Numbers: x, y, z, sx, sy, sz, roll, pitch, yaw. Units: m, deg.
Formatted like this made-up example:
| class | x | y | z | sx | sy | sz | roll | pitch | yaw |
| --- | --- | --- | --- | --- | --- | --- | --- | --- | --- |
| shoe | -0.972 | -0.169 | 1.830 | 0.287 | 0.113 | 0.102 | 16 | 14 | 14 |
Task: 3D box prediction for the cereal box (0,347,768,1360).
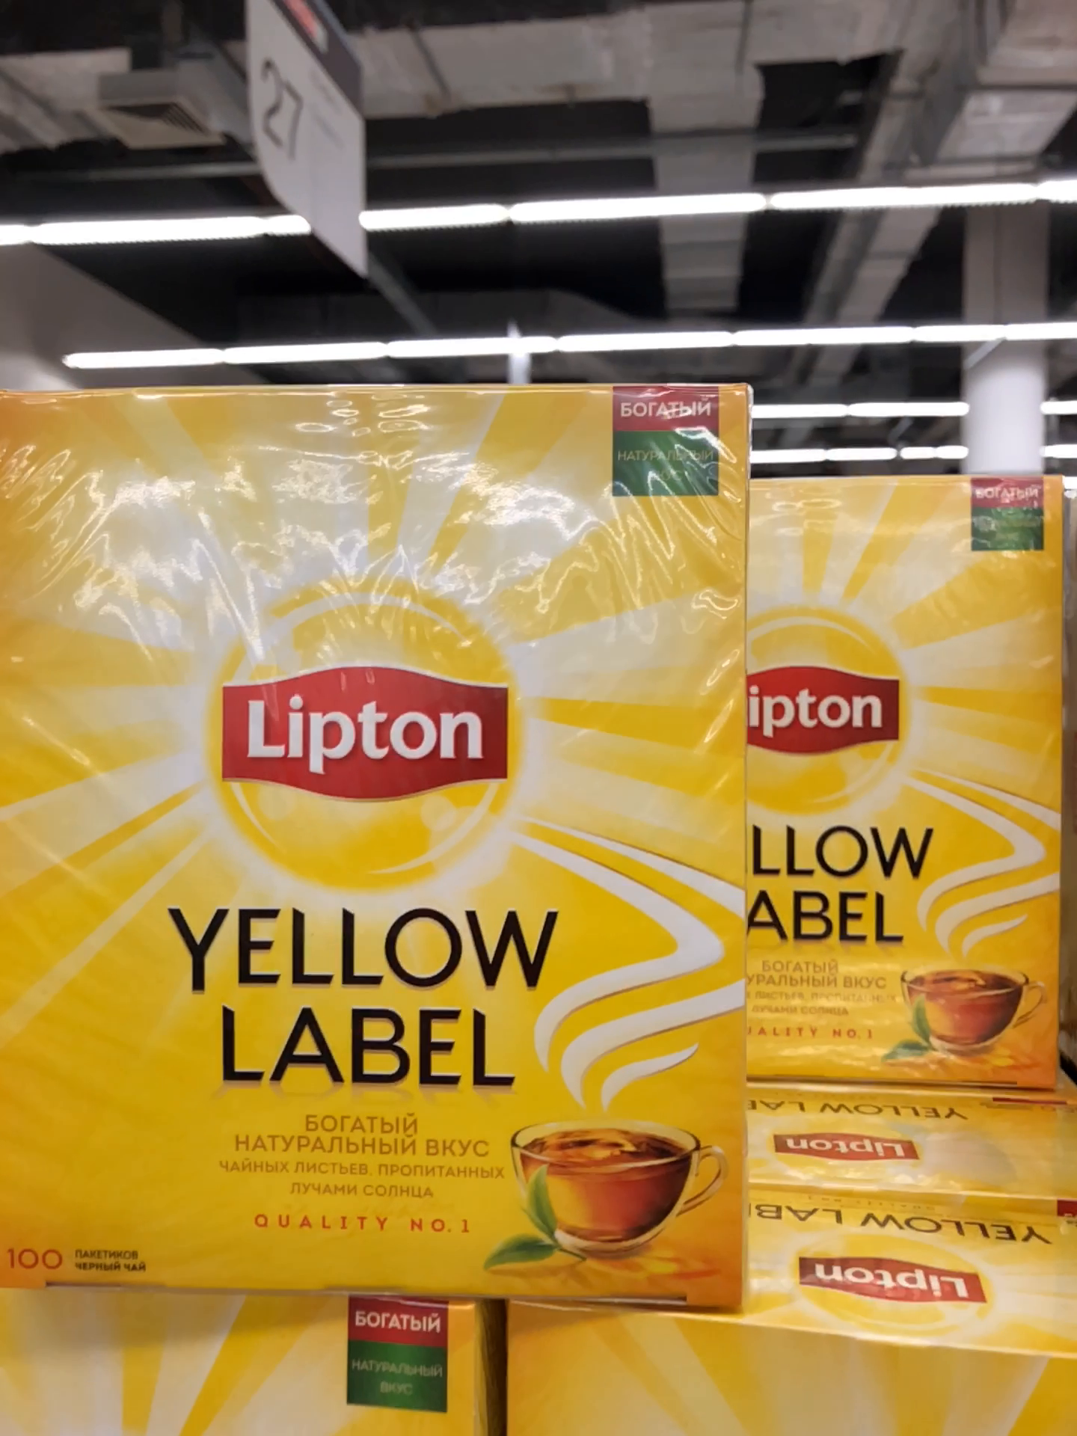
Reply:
| class | x | y | z | sx | sy | sz | roll | pitch | yaw |
| --- | --- | --- | --- | --- | --- | --- | --- | --- | --- |
| cereal box | -0.030 | 0.022 | 0.240 | 0.140 | 0.170 | 0.070 | 0 | 0 | 3 |
